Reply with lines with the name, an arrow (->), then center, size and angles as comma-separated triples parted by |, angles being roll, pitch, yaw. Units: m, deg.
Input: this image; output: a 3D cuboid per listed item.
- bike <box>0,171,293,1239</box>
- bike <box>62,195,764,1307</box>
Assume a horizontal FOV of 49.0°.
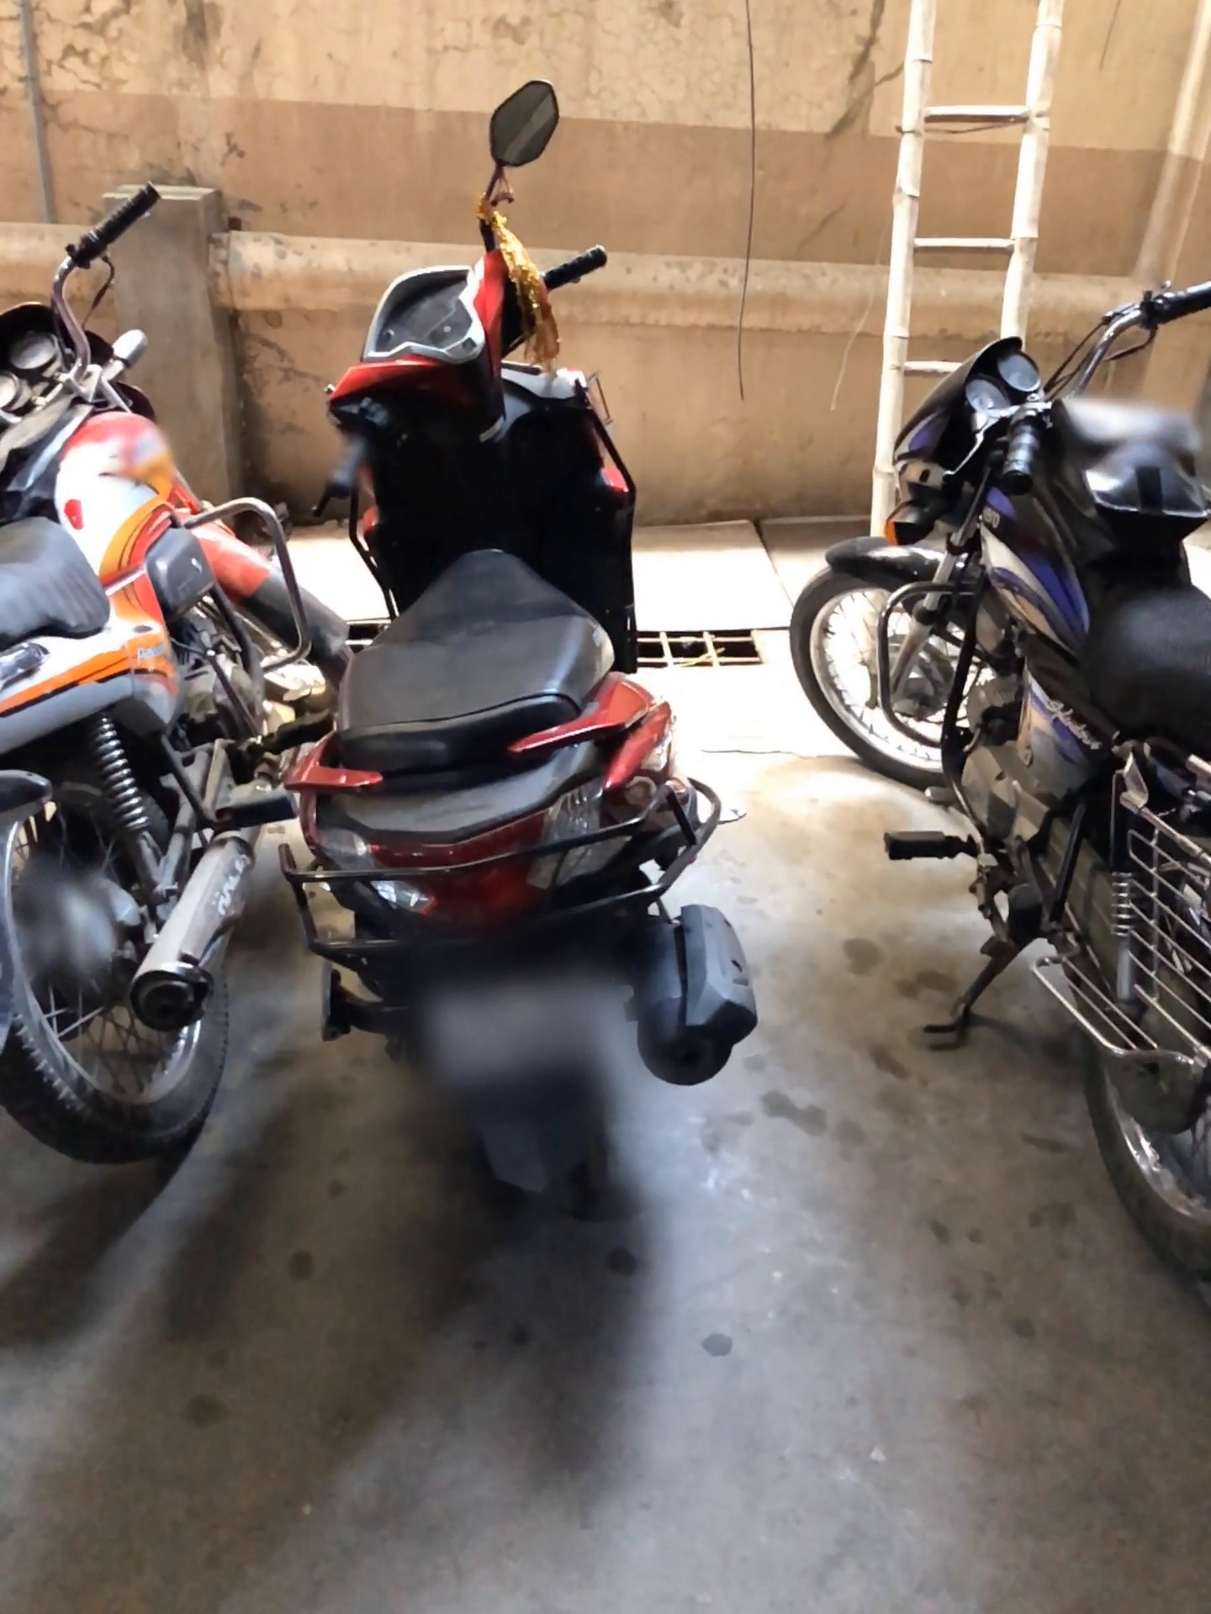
bike -> -1.029, -0.332, 2.141 | 0.838, 1.089, 1.658 | -1, 30, -7
bike -> -0.285, -0.217, 2.099 | 0.630, 1.140, 1.446 | -1, 32, -7
